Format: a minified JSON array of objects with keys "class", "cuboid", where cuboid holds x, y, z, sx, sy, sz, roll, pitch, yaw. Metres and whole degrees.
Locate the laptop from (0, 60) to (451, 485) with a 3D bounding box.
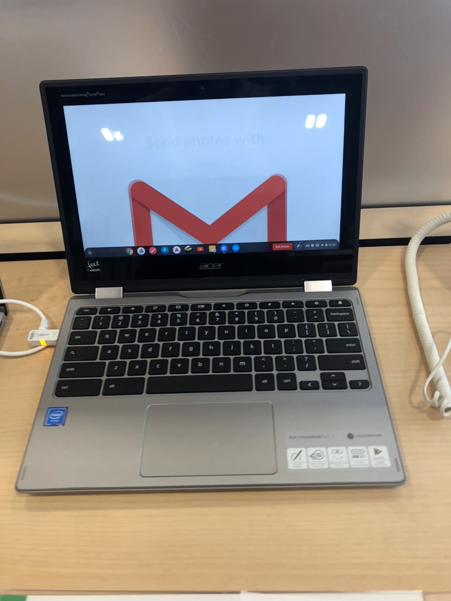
[{"class":"laptop","cuboid":[-0.018,-0.036,0.405,0.287,0.176,0.296,-2,48,2]}]
